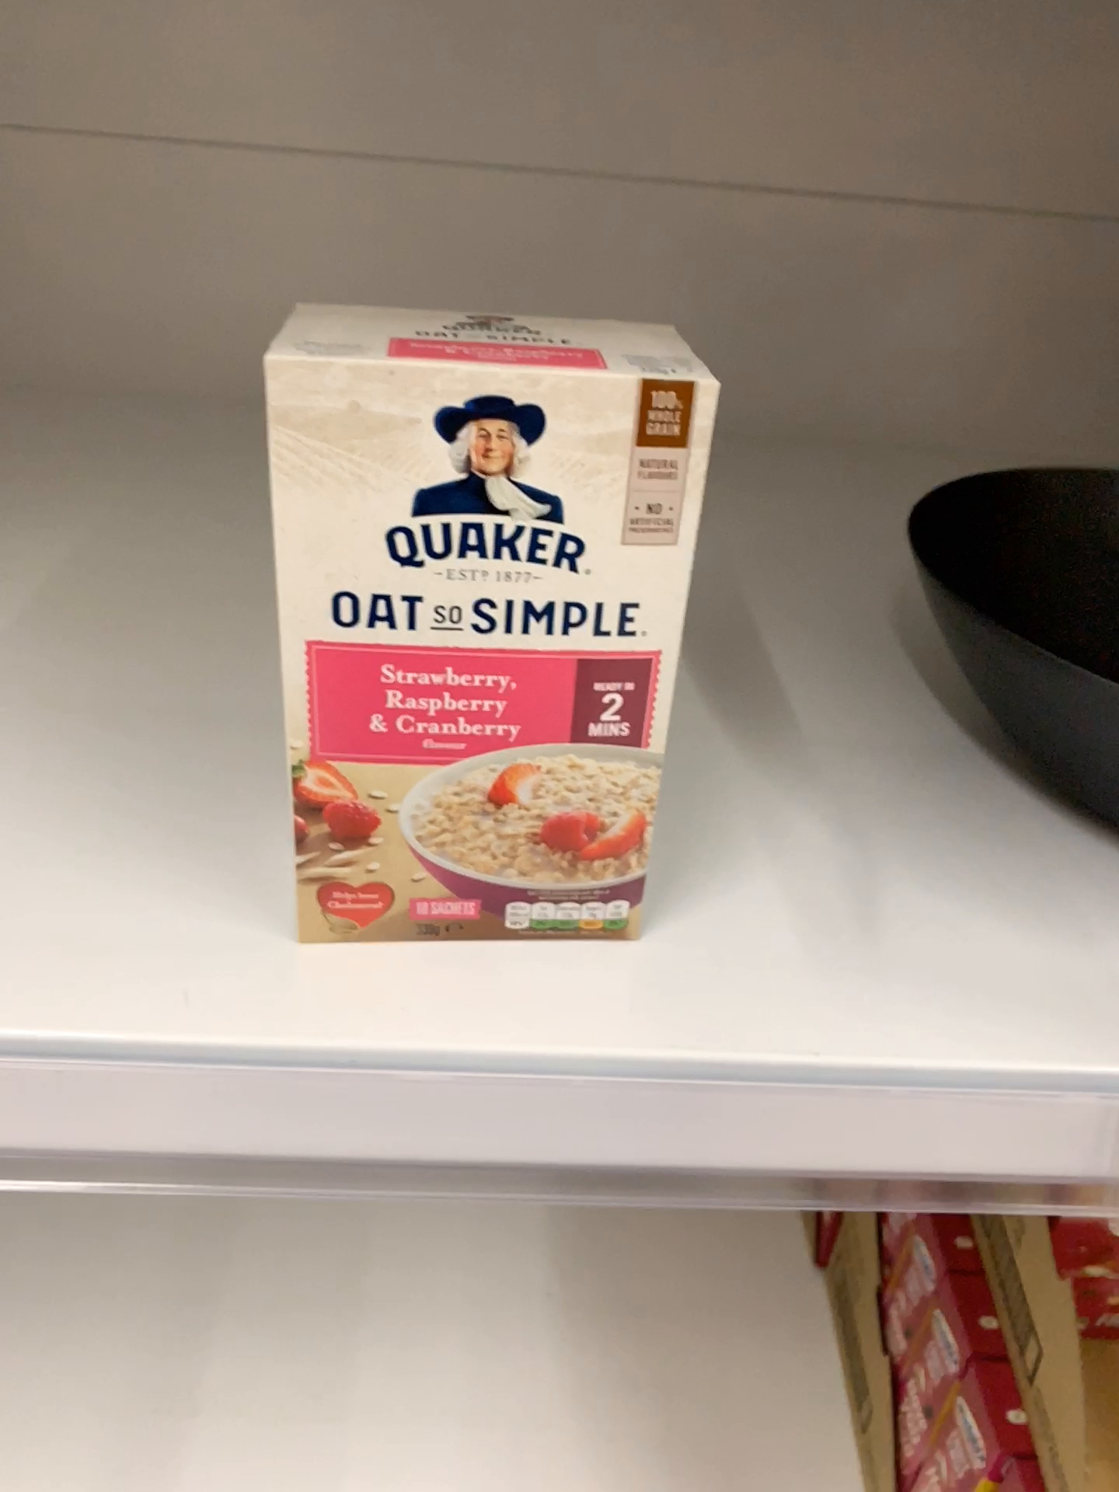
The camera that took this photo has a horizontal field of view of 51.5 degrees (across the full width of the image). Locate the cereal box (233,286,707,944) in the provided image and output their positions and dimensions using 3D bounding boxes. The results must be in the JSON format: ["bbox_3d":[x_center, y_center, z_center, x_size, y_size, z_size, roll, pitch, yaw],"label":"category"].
[{"bbox_3d":[-0.035,-0.039,0.406,0.130,0.208,0.081,1,31,-8],"label":"cereal box"}]
